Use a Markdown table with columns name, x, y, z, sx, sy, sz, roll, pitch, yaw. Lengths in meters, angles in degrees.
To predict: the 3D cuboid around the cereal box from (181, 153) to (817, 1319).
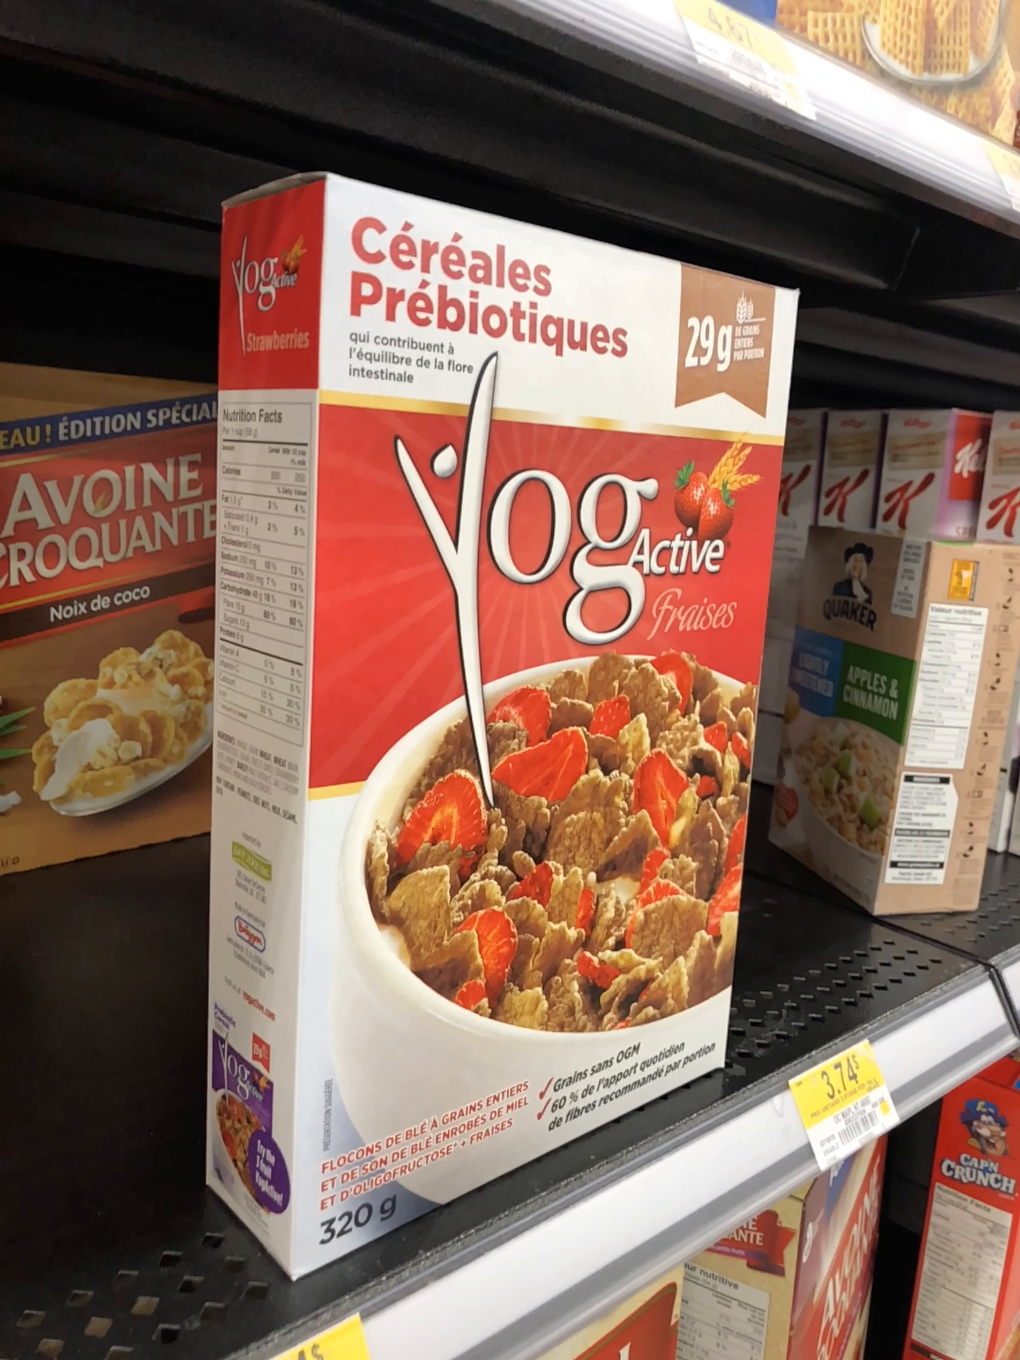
| name | x | y | z | sx | sy | sz | roll | pitch | yaw |
| --- | --- | --- | --- | --- | --- | --- | --- | --- | --- |
| cereal box | 0.003 | 0.014 | 0.358 | 0.200 | 0.289 | 0.050 | -5 | 13 | -42 |
